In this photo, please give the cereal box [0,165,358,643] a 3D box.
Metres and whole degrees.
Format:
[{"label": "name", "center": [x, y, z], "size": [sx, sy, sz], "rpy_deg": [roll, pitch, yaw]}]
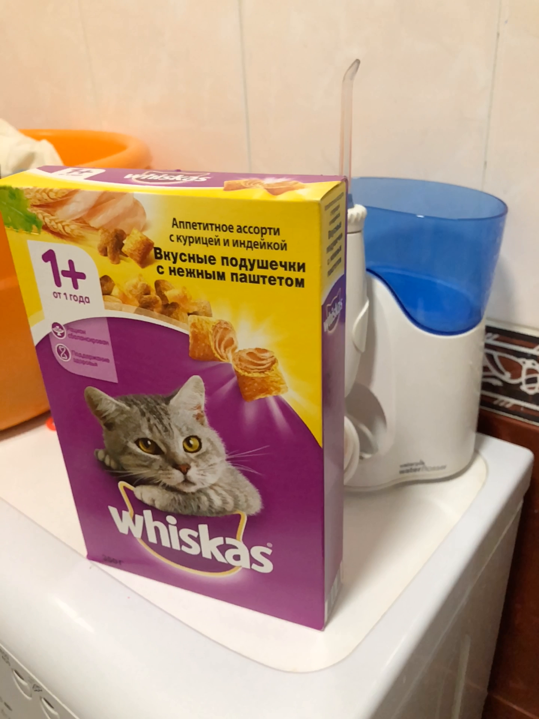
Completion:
[{"label": "cereal box", "center": [-0.037, 0.025, 0.288], "size": [0.150, 0.219, 0.040], "rpy_deg": [8, 30, 20]}]
